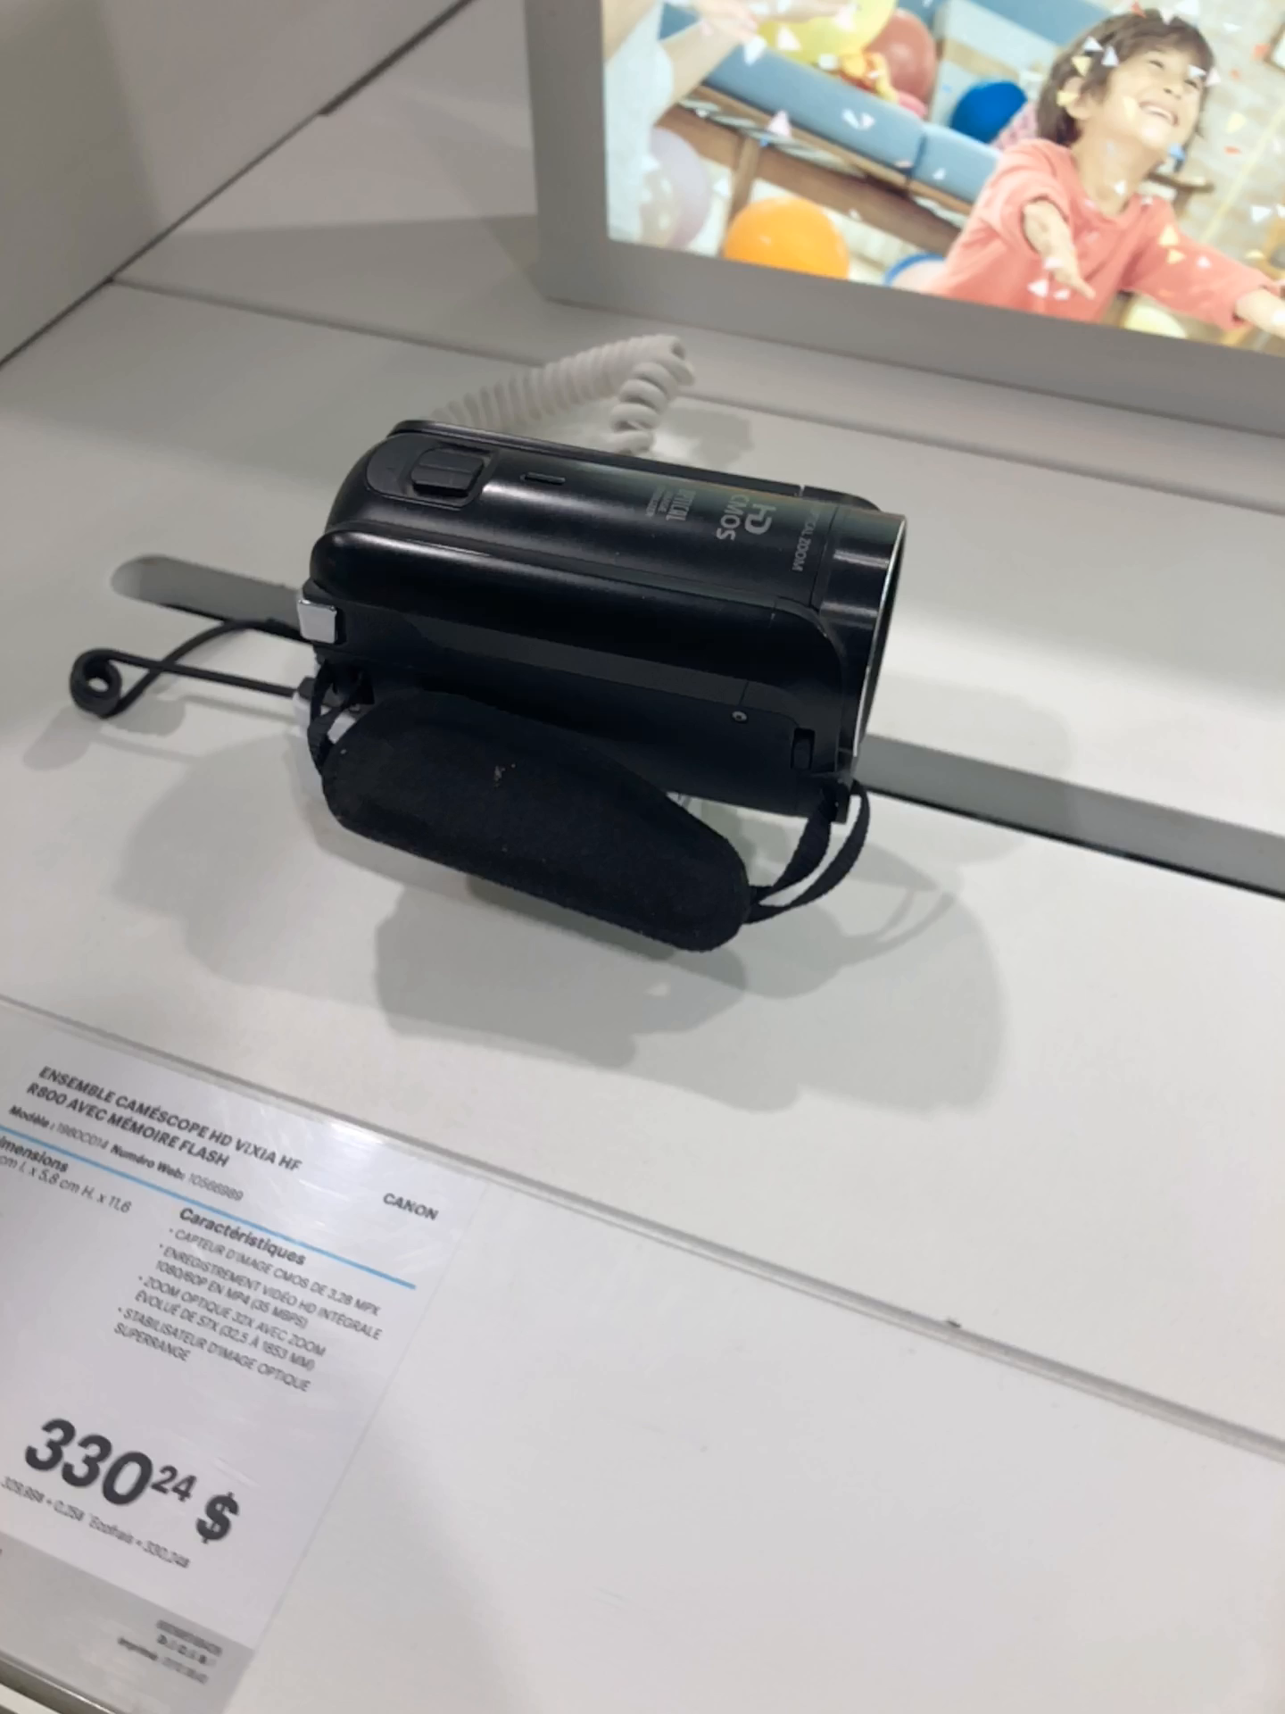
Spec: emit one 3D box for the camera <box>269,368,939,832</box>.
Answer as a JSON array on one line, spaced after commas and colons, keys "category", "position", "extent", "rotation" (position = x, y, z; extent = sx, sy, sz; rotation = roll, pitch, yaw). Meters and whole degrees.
[{"category": "camera", "position": [-0.006, -0.052, 0.282], "extent": [0.113, 0.050, 0.050], "rotation": [13, 50, 12]}]
